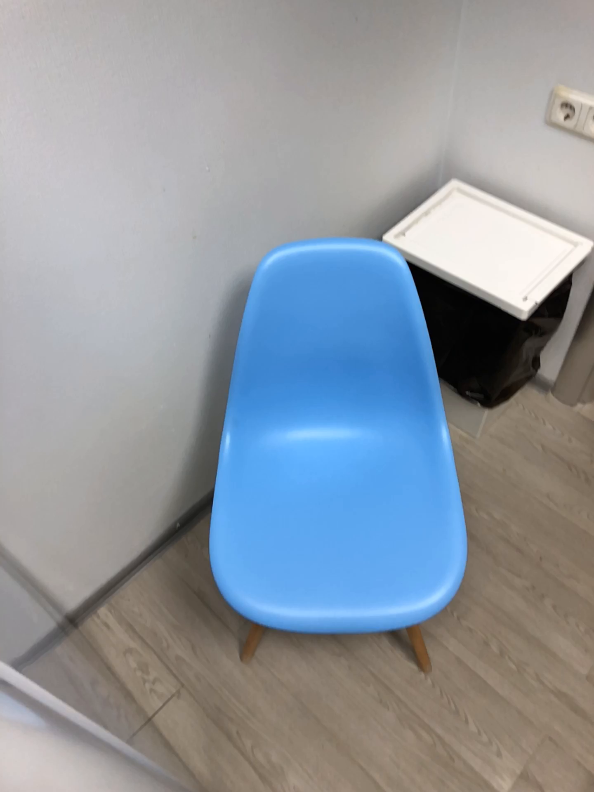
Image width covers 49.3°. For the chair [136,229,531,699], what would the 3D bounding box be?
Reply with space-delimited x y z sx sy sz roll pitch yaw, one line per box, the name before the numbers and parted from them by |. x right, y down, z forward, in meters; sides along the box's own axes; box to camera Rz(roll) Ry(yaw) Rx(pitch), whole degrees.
chair | 0.084 0.174 1.221 0.460 0.777 0.532 2 53 6
